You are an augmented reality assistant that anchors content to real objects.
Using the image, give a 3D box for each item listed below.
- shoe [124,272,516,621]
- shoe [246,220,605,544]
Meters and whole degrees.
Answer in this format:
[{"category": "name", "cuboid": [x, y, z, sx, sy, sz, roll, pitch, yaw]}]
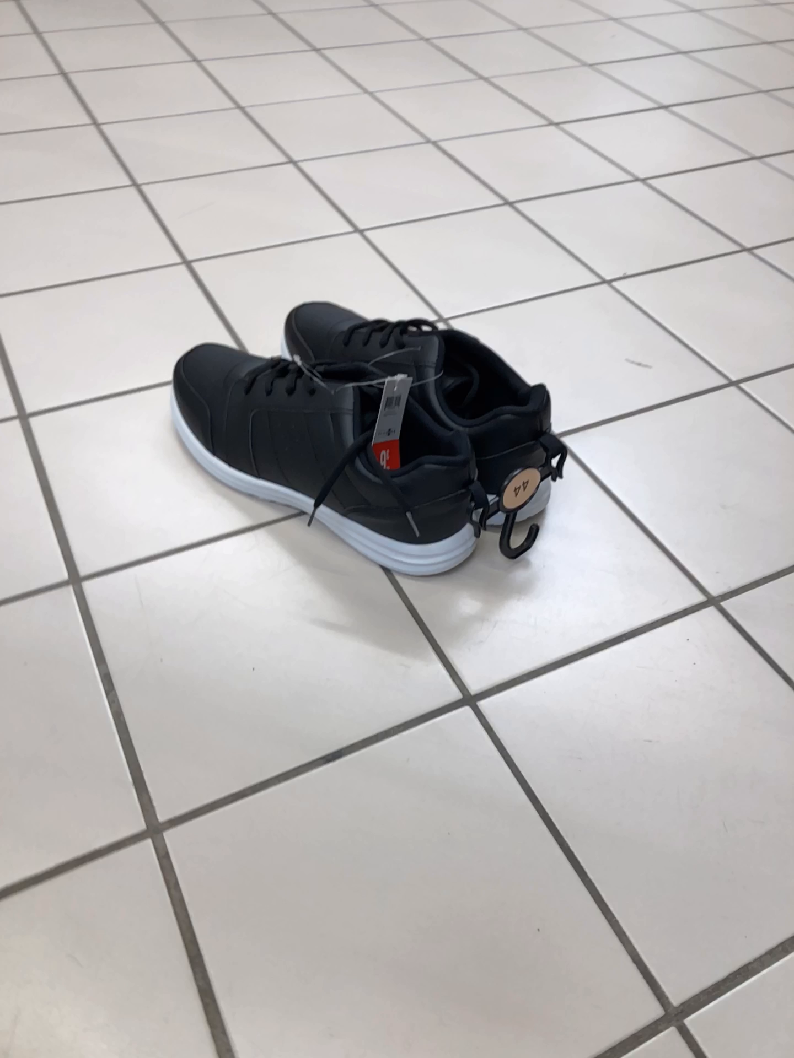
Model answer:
[{"category": "shoe", "cuboid": [-0.066, -0.075, 0.679, 0.290, 0.119, 0.111, 32, 51, 26]}, {"category": "shoe", "cuboid": [0.011, -0.134, 0.730, 0.111, 0.119, 0.290, -33, 55, -31]}]
